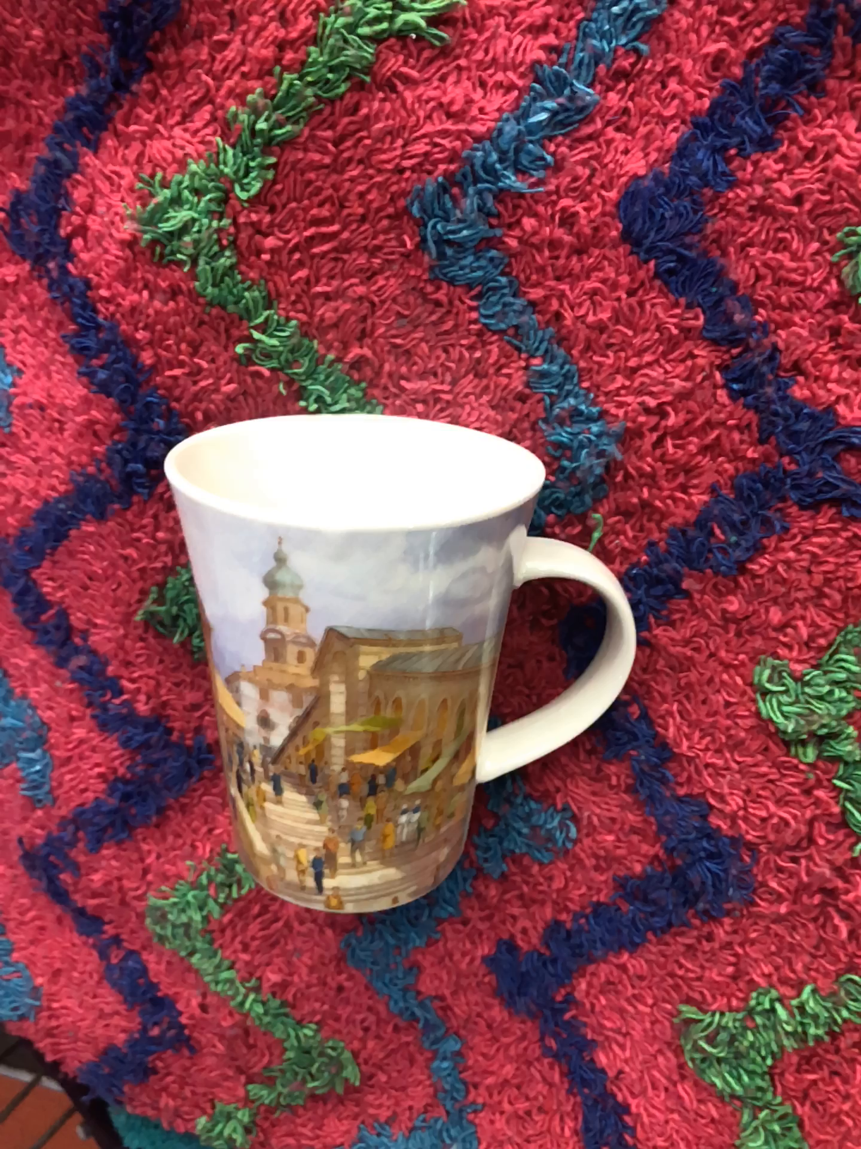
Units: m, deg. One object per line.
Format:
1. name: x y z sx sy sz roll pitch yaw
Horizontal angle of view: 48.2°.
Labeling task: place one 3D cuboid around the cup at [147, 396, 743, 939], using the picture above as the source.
1. cup: -0.007 0.013 0.229 0.110 0.090 0.090 -1 112 -14
